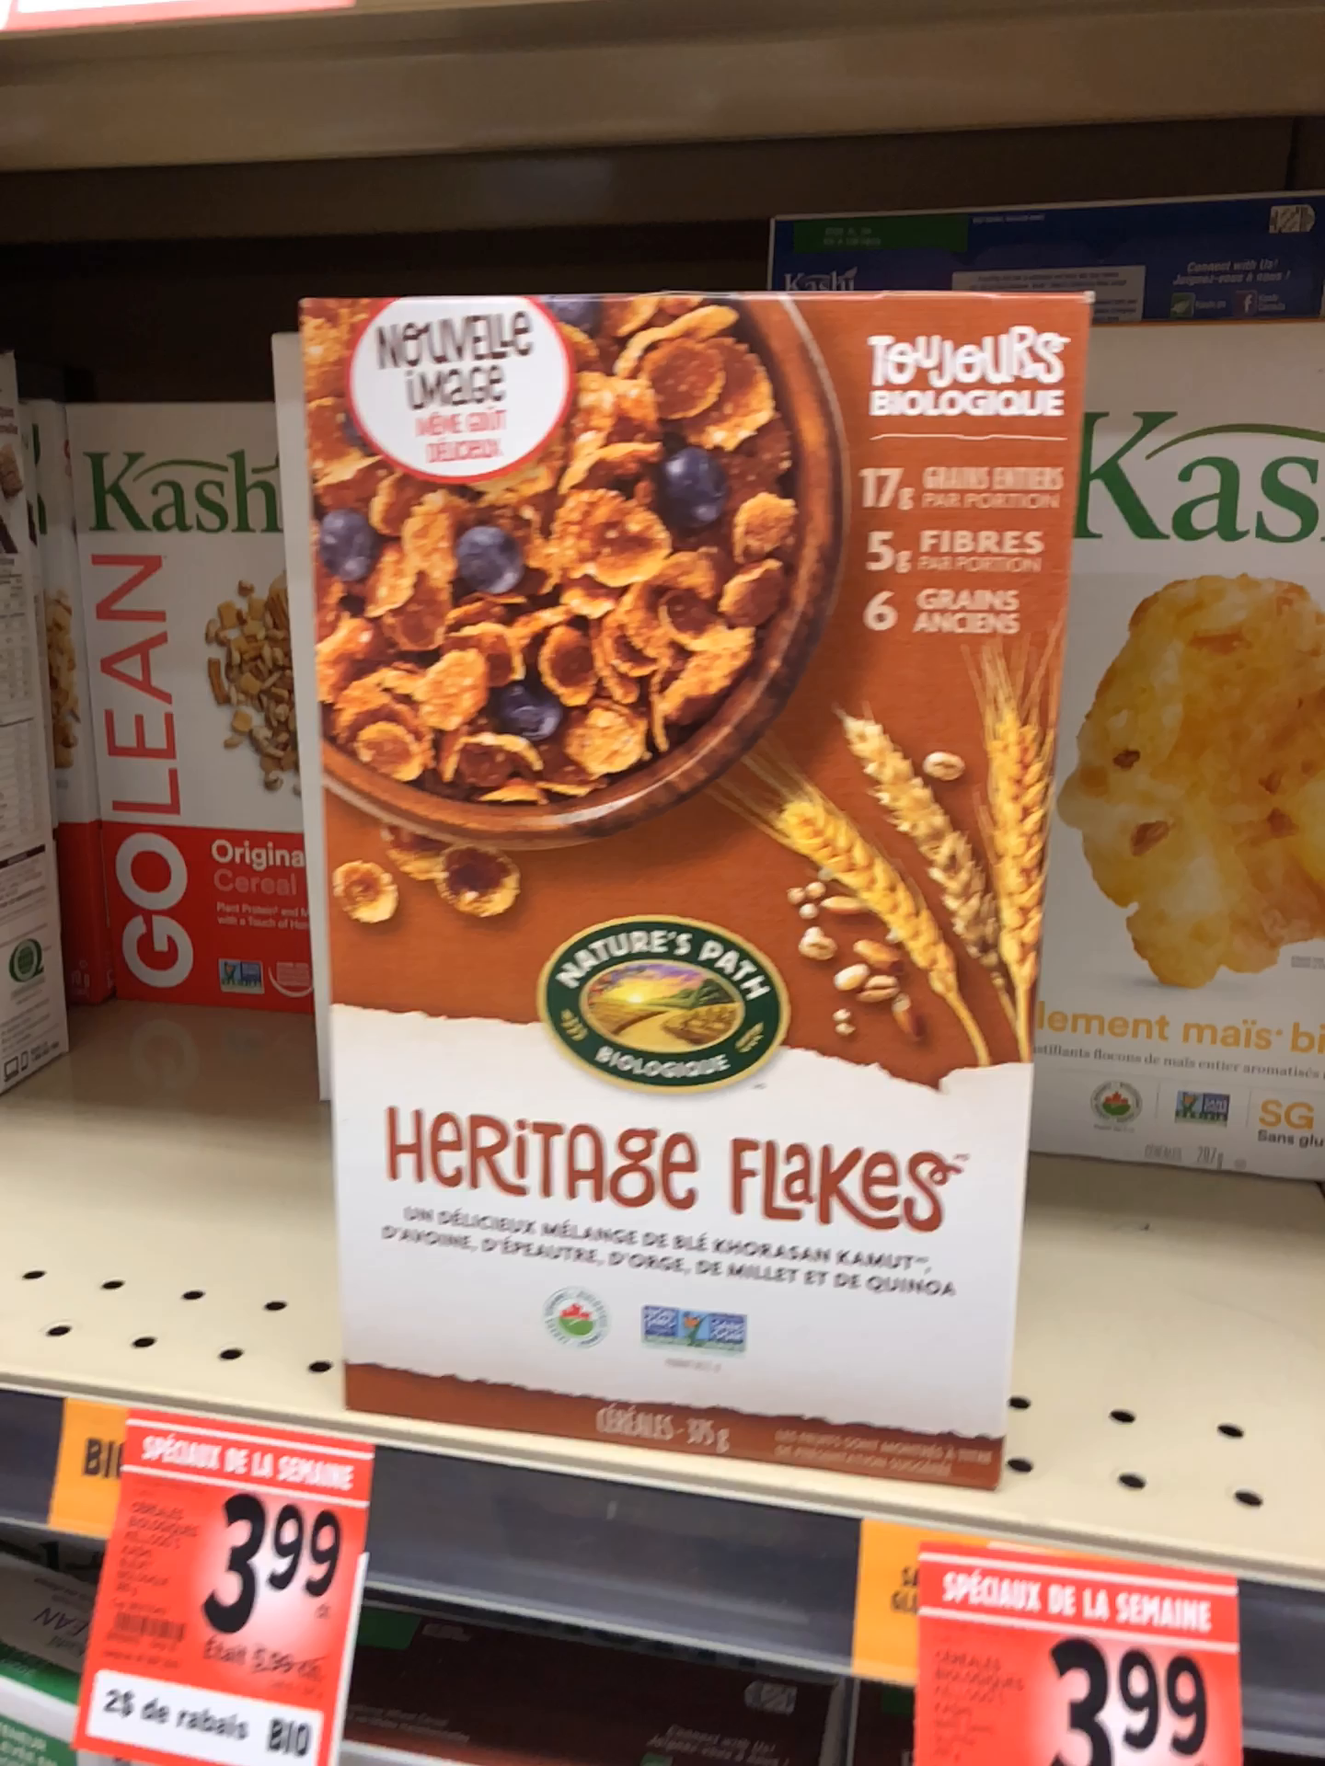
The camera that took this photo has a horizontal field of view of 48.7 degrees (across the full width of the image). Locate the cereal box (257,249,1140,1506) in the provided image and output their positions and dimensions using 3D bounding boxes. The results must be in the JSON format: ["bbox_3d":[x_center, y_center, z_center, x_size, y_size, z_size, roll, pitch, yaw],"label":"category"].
[{"bbox_3d":[0.008,-0.001,0.342,0.170,0.259,0.070,3,14,11],"label":"cereal box"}]
